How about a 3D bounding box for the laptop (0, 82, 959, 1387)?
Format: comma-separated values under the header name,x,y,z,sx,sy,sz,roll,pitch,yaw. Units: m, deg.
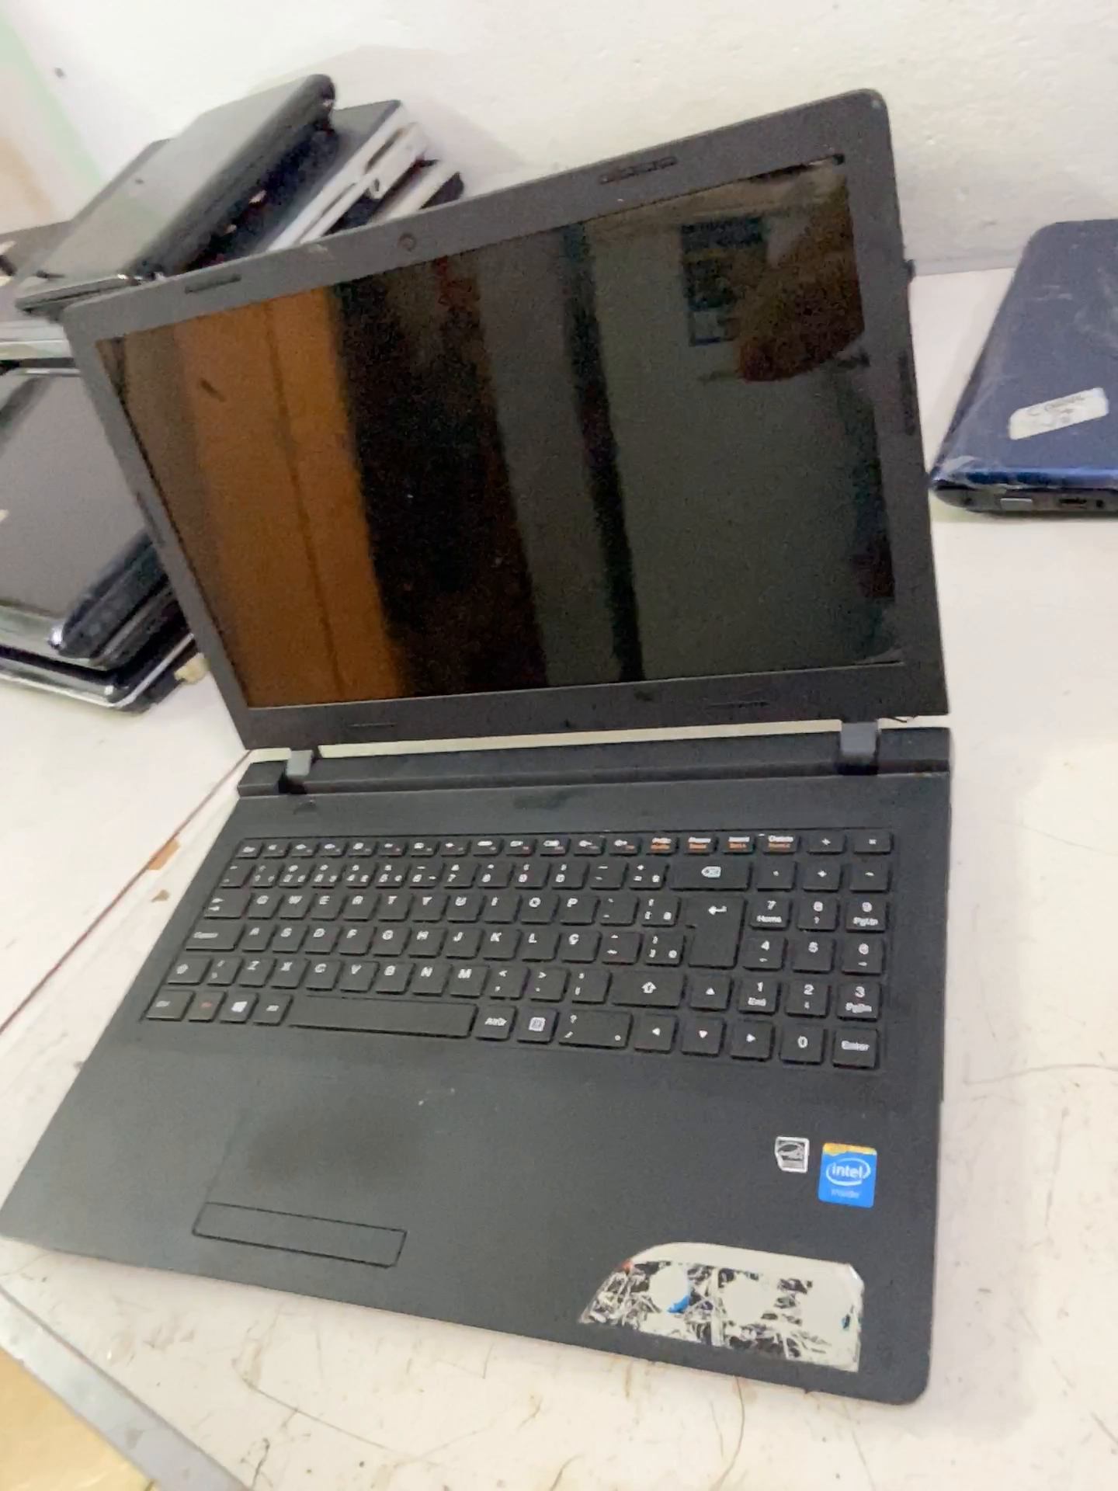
name,x,y,z,sx,sy,sz,roll,pitch,yaw
laptop,-0.065,-0.010,0.434,0.376,0.230,0.339,-3,46,24
